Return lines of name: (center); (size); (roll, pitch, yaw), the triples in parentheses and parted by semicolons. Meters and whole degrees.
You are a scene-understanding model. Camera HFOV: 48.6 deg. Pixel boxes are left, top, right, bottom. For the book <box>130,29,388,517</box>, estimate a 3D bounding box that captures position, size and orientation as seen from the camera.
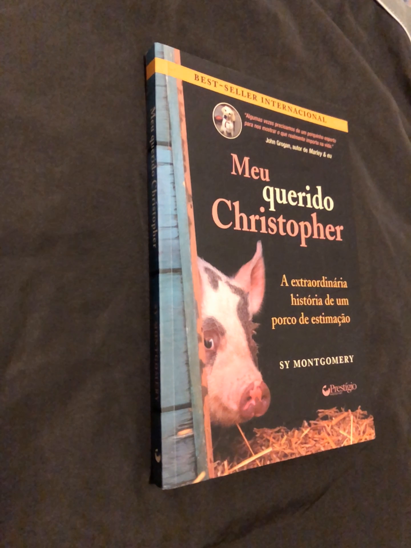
book: (0.041, -0.004, 0.263); (0.171, 0.020, 0.220); (1, 84, -37)
